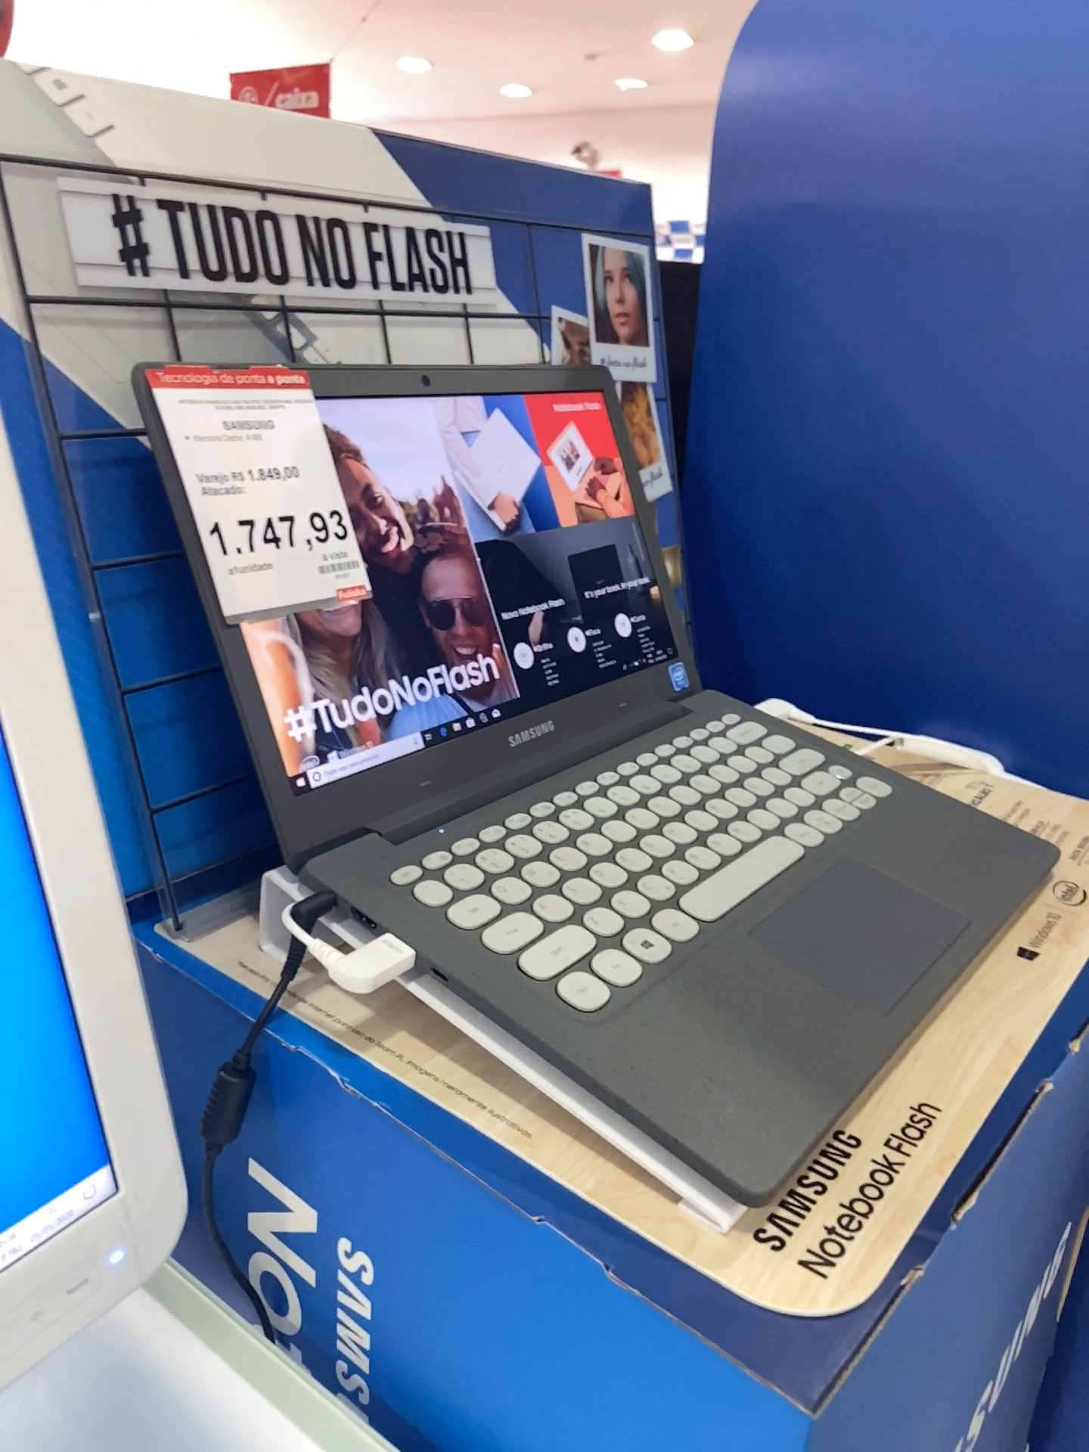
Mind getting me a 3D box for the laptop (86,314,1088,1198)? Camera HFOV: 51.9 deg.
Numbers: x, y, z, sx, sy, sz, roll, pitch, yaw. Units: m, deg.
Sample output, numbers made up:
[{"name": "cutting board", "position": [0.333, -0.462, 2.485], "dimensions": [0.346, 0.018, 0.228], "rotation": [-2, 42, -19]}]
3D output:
[{"name": "laptop", "position": [0.040, -0.051, 0.517], "dimensions": [0.344, 0.181, 0.323], "rotation": [26, 29, 32]}]
